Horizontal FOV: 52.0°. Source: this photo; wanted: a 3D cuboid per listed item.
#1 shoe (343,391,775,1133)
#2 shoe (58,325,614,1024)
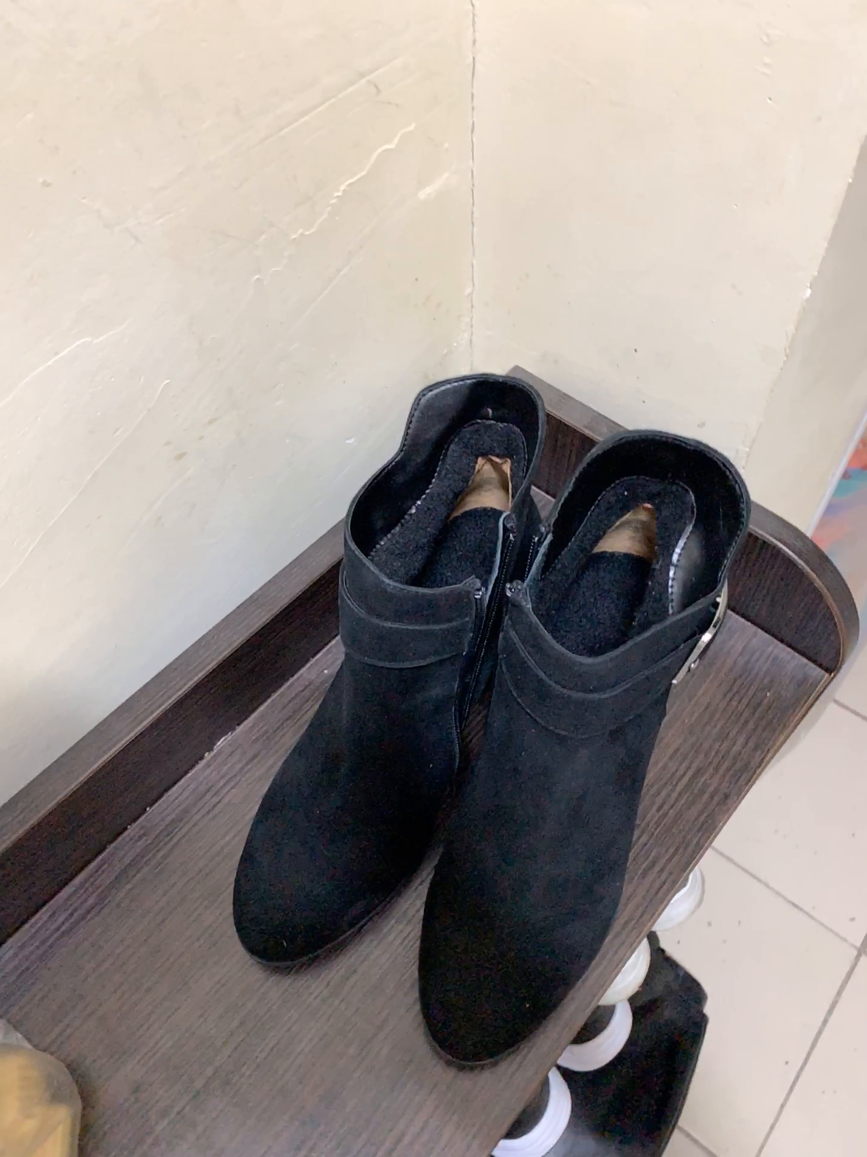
[{"bbox_3d":[0.059,0.079,0.381,0.088,0.189,0.241,15,56,12],"label":"shoe"},{"bbox_3d":[-0.019,0.044,0.403,0.088,0.189,0.241,23,58,17],"label":"shoe"}]
